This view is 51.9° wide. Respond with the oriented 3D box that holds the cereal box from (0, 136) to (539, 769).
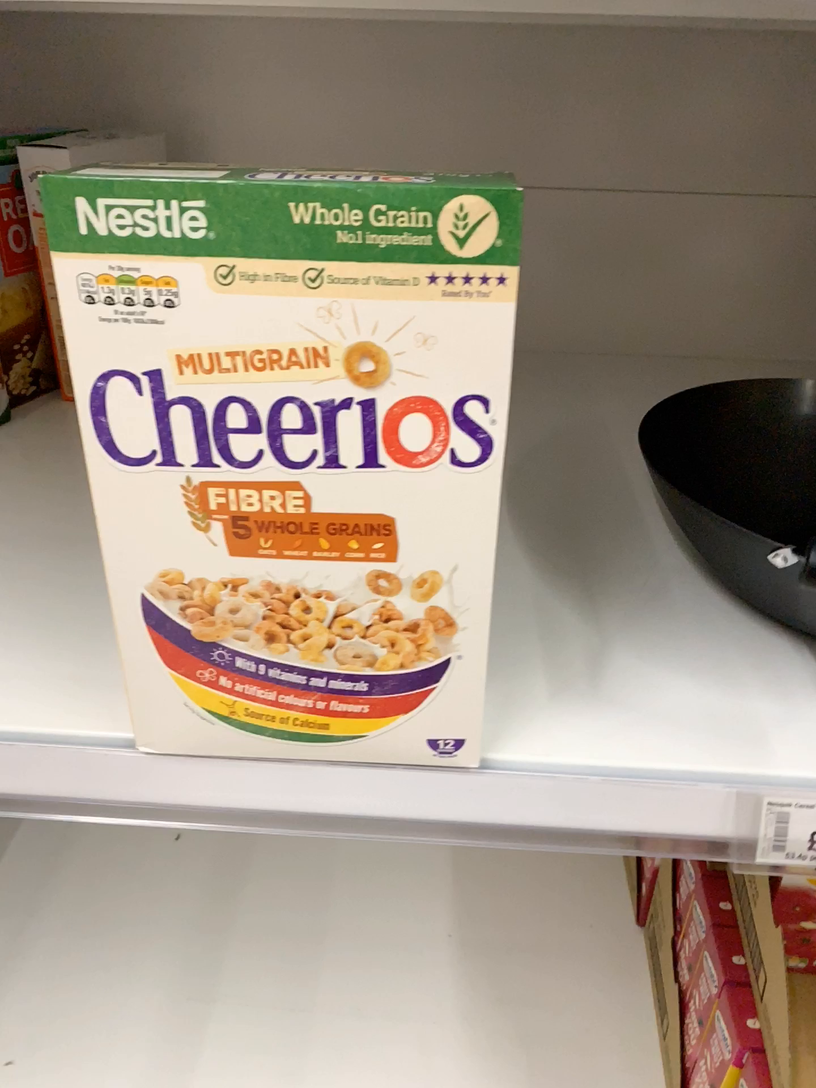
[{"bbox_3d":[-0.055,-0.032,0.402,0.200,0.287,0.071,2,27,1],"label":"cereal box"}]
